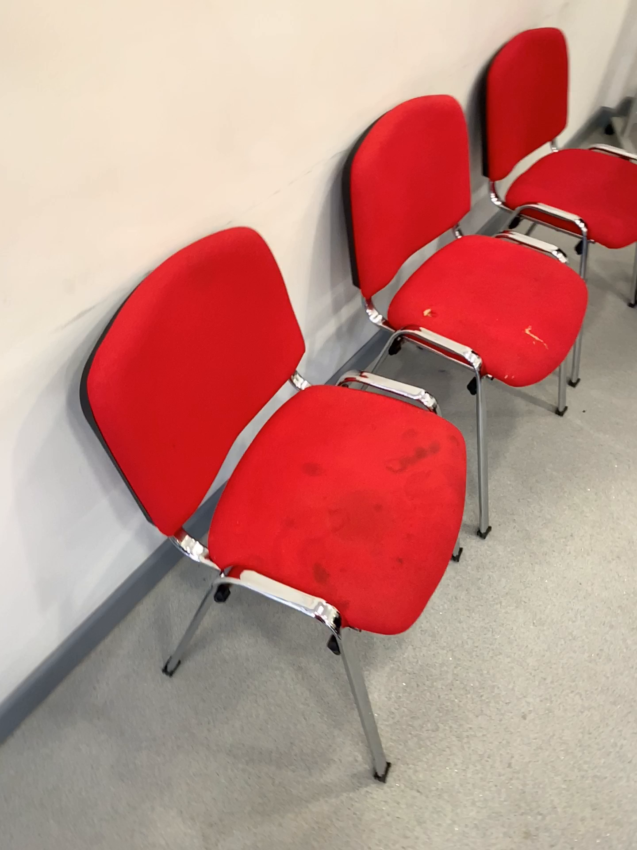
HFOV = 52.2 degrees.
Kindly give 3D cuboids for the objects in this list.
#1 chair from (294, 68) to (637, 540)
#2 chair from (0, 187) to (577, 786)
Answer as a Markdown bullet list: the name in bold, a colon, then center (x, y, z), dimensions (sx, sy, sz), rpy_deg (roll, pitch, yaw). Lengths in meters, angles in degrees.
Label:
- **chair**: center (0.357, -0.284, 1.577), dimensions (0.589, 0.793, 0.570), rpy_deg (30, 52, 21)
- **chair**: center (-0.015, 0.121, 1.206), dimensions (0.629, 0.753, 0.601), rpy_deg (20, 50, 14)
